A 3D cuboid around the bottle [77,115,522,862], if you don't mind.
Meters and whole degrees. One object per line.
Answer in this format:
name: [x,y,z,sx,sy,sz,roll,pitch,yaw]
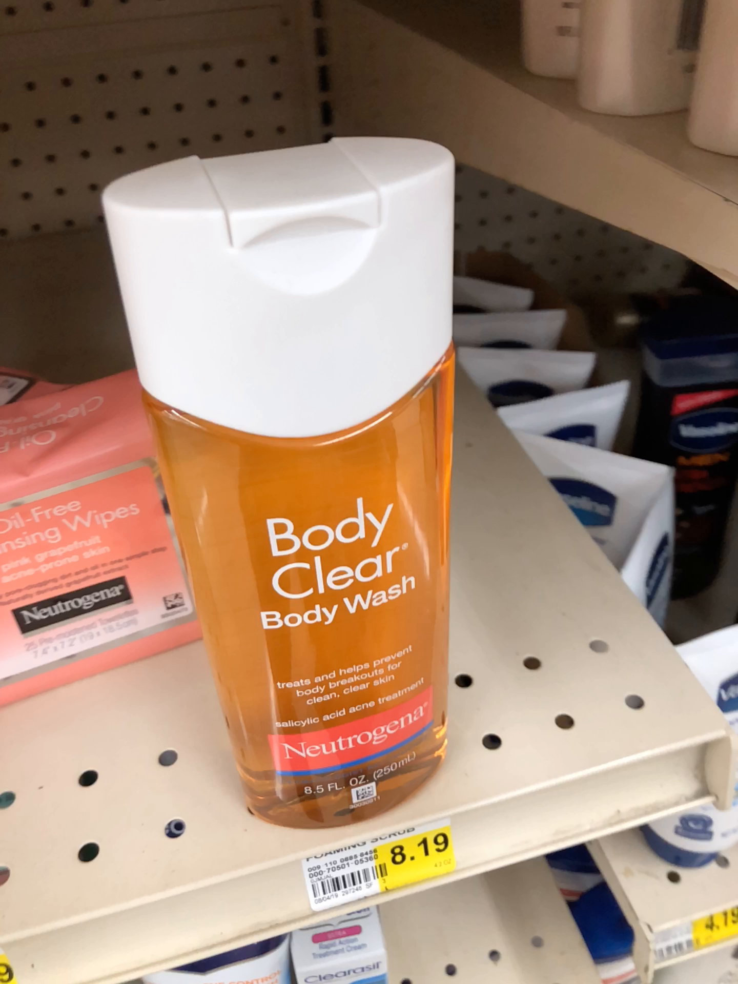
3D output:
bottle: [-0.011,0.017,0.207,0.070,0.190,0.045,-12,42,-11]
